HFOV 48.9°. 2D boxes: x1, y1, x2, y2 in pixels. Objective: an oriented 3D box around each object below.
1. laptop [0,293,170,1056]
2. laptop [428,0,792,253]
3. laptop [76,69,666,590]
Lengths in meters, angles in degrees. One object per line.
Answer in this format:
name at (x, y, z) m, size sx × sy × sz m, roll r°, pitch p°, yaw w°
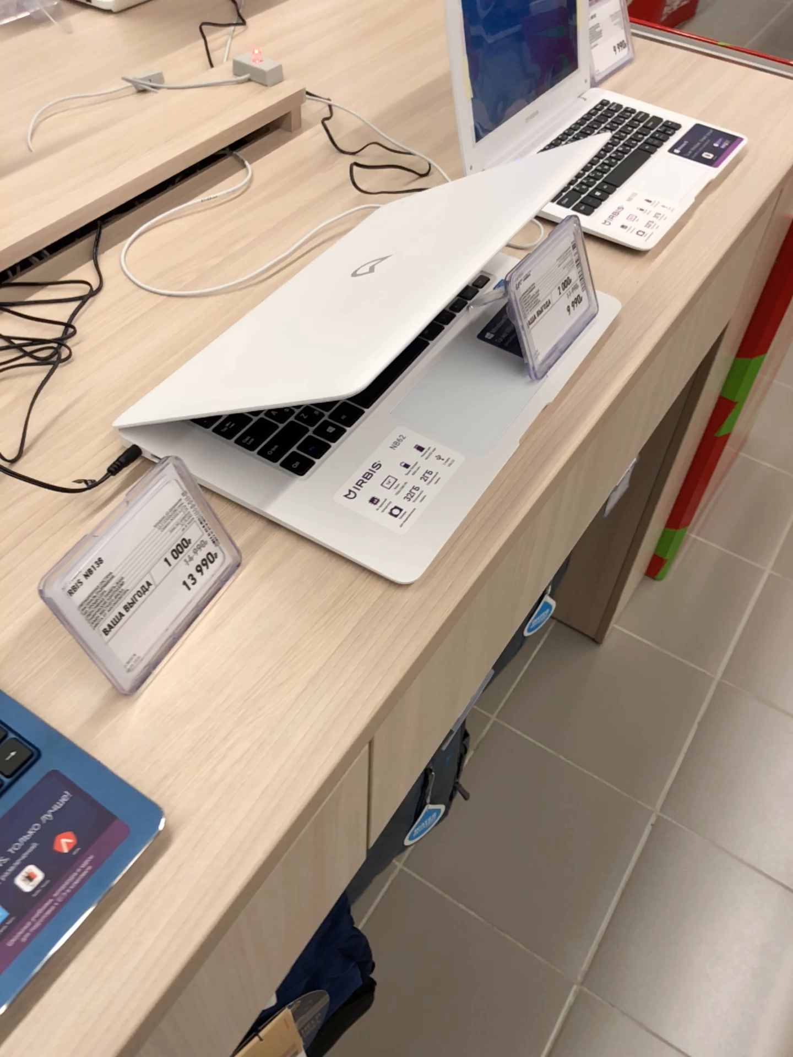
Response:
laptop at (-0.321, 0.109, 0.305) m, size 0.319 × 0.162 × 0.310 m, roll 27°, pitch 51°, yaw 19°
laptop at (0.201, -0.433, 0.813) m, size 0.231 × 0.168 × 0.264 m, roll 29°, pitch 54°, yaw 20°
laptop at (0.005, -0.163, 0.596) m, size 0.223 × 0.115 × 0.351 m, roll 27°, pitch 52°, yaw 16°
